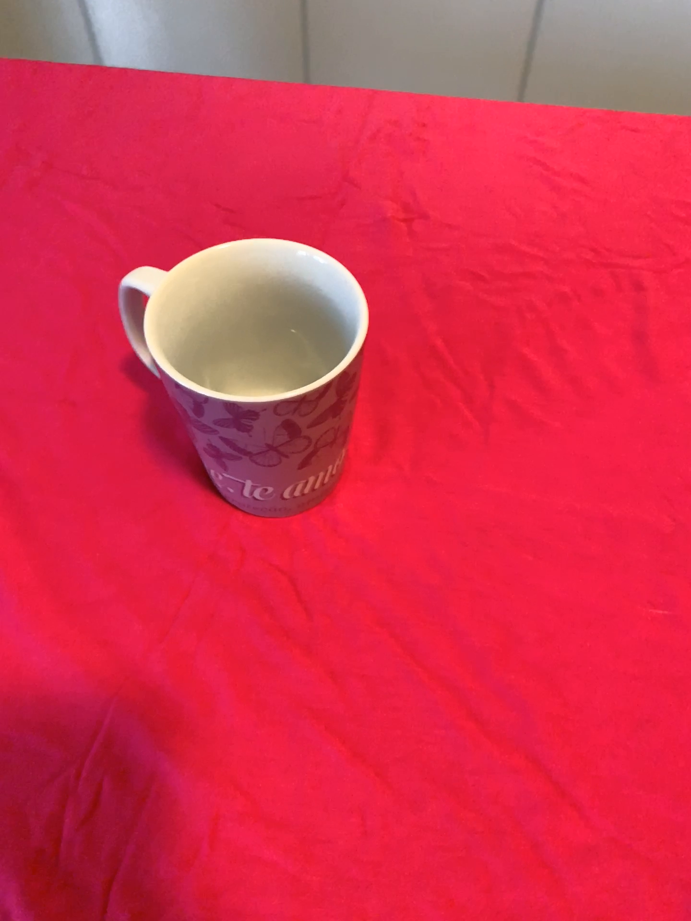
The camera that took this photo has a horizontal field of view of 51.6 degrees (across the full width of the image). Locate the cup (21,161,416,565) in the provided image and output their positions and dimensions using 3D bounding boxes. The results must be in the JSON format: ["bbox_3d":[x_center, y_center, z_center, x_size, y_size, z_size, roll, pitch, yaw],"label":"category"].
[{"bbox_3d":[-0.044,-0.038,0.290,0.110,0.100,0.080,30,60,17],"label":"cup"}]
